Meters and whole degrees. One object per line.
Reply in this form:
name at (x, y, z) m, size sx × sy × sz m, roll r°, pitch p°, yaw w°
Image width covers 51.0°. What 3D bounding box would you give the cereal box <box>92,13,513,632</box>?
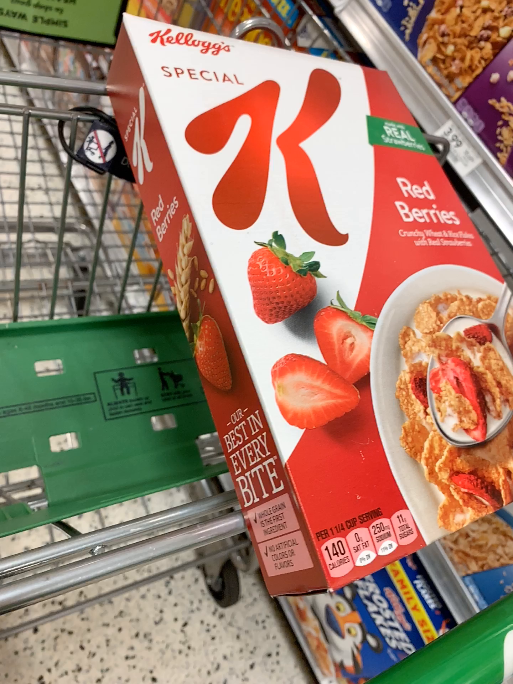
cereal box at (0.049, -0.036, 0.289) m, size 0.201 × 0.050 × 0.281 m, roll -8°, pitch 67°, yaw -33°
